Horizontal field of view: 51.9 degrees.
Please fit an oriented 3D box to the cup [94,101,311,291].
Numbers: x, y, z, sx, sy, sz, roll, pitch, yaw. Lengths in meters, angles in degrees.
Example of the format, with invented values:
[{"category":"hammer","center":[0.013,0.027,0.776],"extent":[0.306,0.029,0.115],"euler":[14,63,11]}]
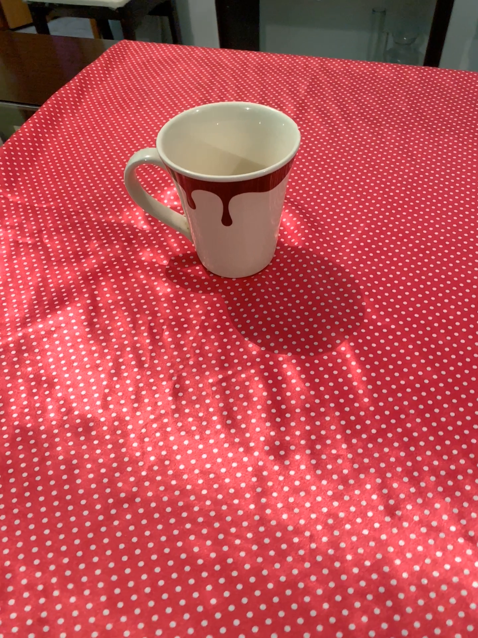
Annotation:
[{"category":"cup","center":[-0.017,-0.092,0.361],"extent":[0.130,0.090,0.100],"euler":[3,50,7]}]
